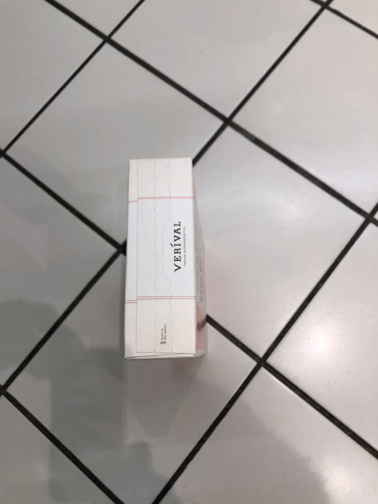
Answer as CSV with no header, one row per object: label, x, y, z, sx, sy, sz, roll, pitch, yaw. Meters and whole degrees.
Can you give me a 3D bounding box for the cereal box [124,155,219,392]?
cereal box,-0.003,0.033,0.355,0.050,0.220,0.140,-2,77,4
